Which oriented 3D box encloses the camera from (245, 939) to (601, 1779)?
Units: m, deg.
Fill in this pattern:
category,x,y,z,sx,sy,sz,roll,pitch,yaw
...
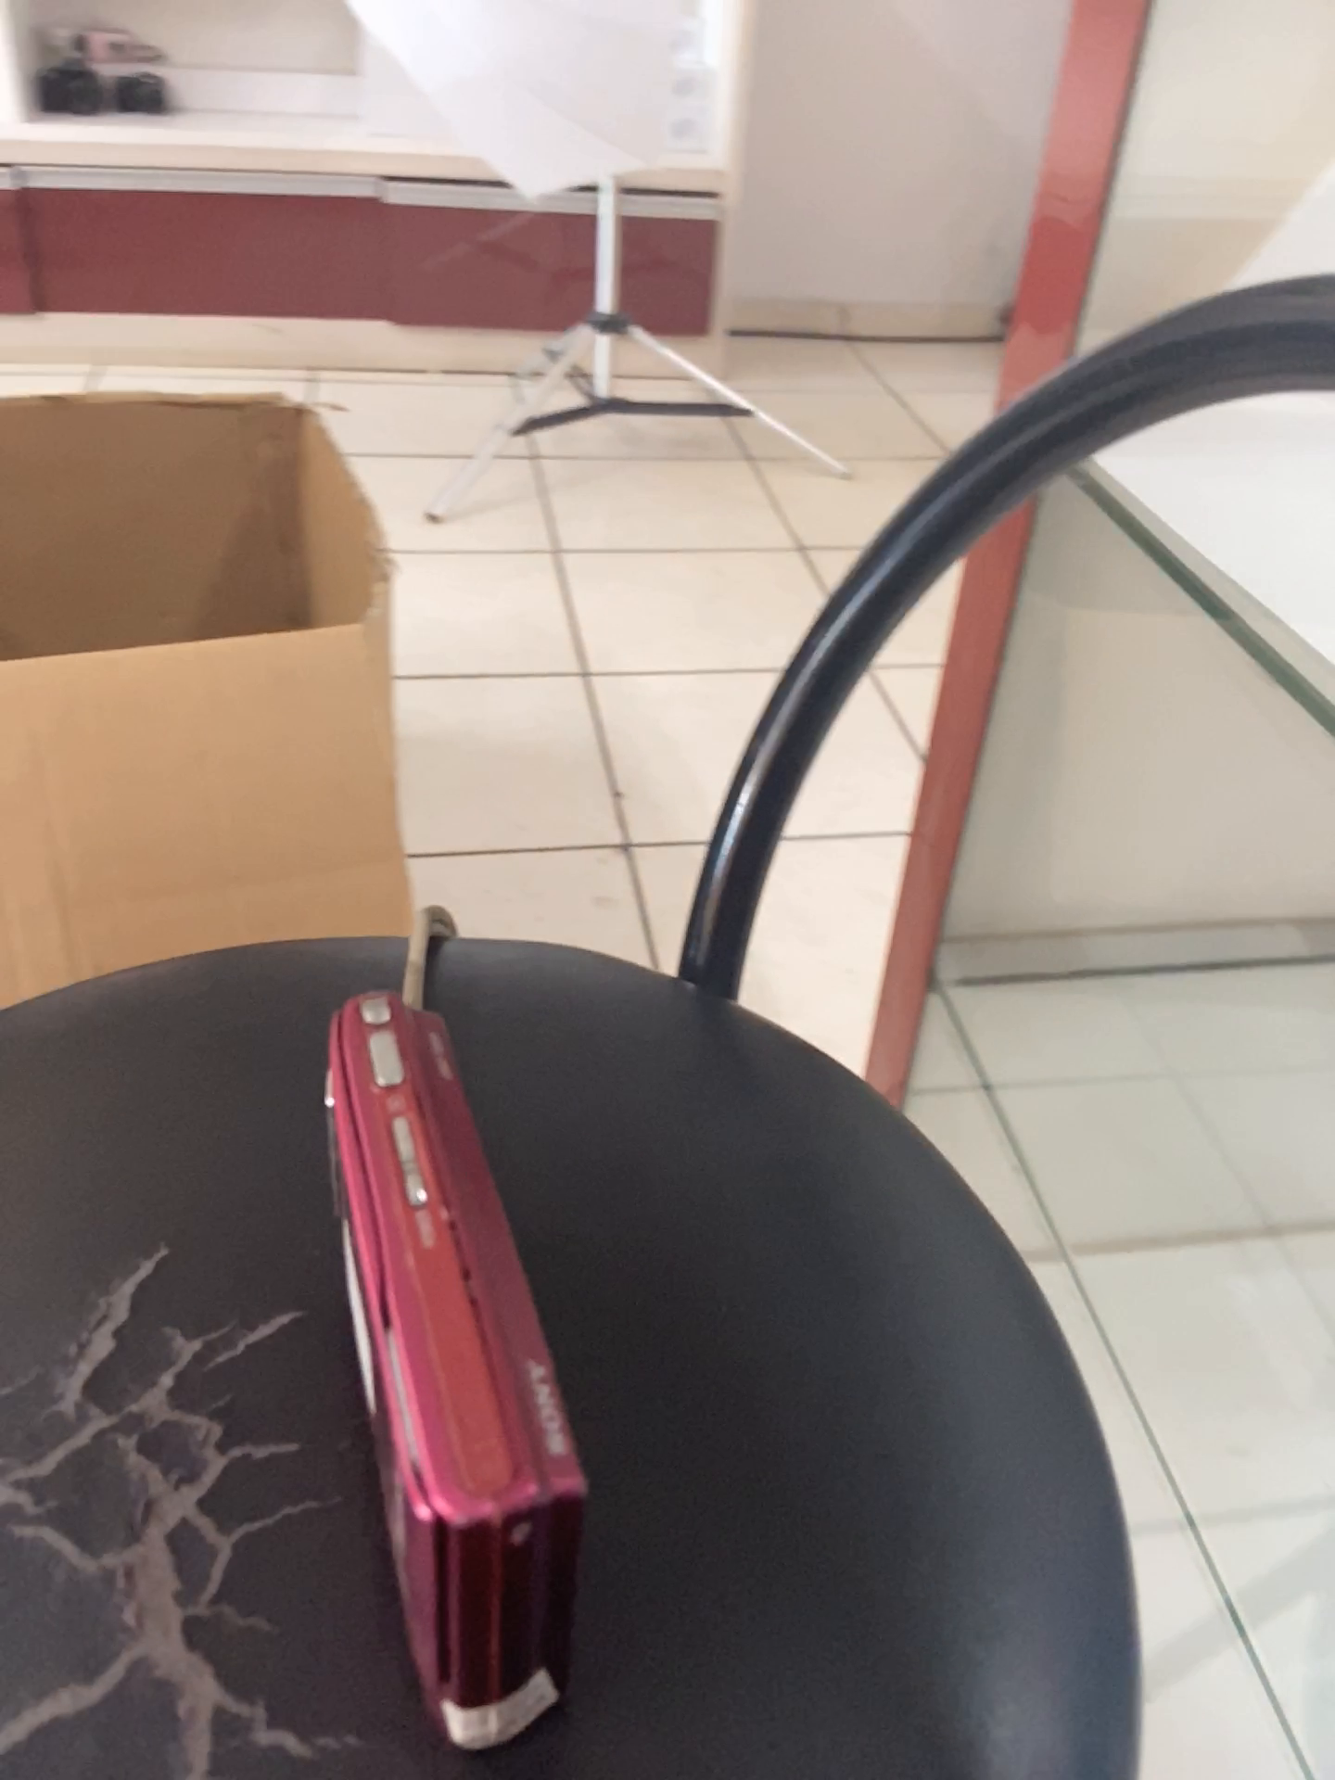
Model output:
category,x,y,z,sx,sy,sz,roll,pitch,yaw
camera,-0.040,0.064,0.206,0.030,0.060,0.100,-9,38,-17
